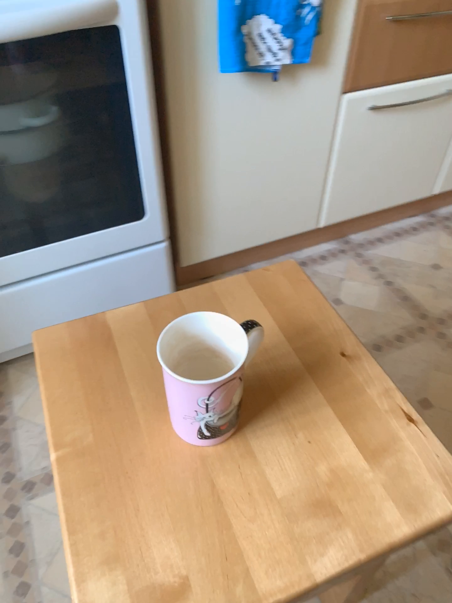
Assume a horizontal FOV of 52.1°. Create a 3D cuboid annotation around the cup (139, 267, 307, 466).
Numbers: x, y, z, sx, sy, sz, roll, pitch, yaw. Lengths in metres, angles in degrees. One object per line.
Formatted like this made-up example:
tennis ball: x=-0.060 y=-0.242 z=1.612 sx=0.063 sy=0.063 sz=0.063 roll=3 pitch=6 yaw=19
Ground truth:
cup: x=0.000 y=0.055 z=0.412 sx=0.080 sy=0.099 sz=0.121 roll=29 pitch=51 yaw=26
